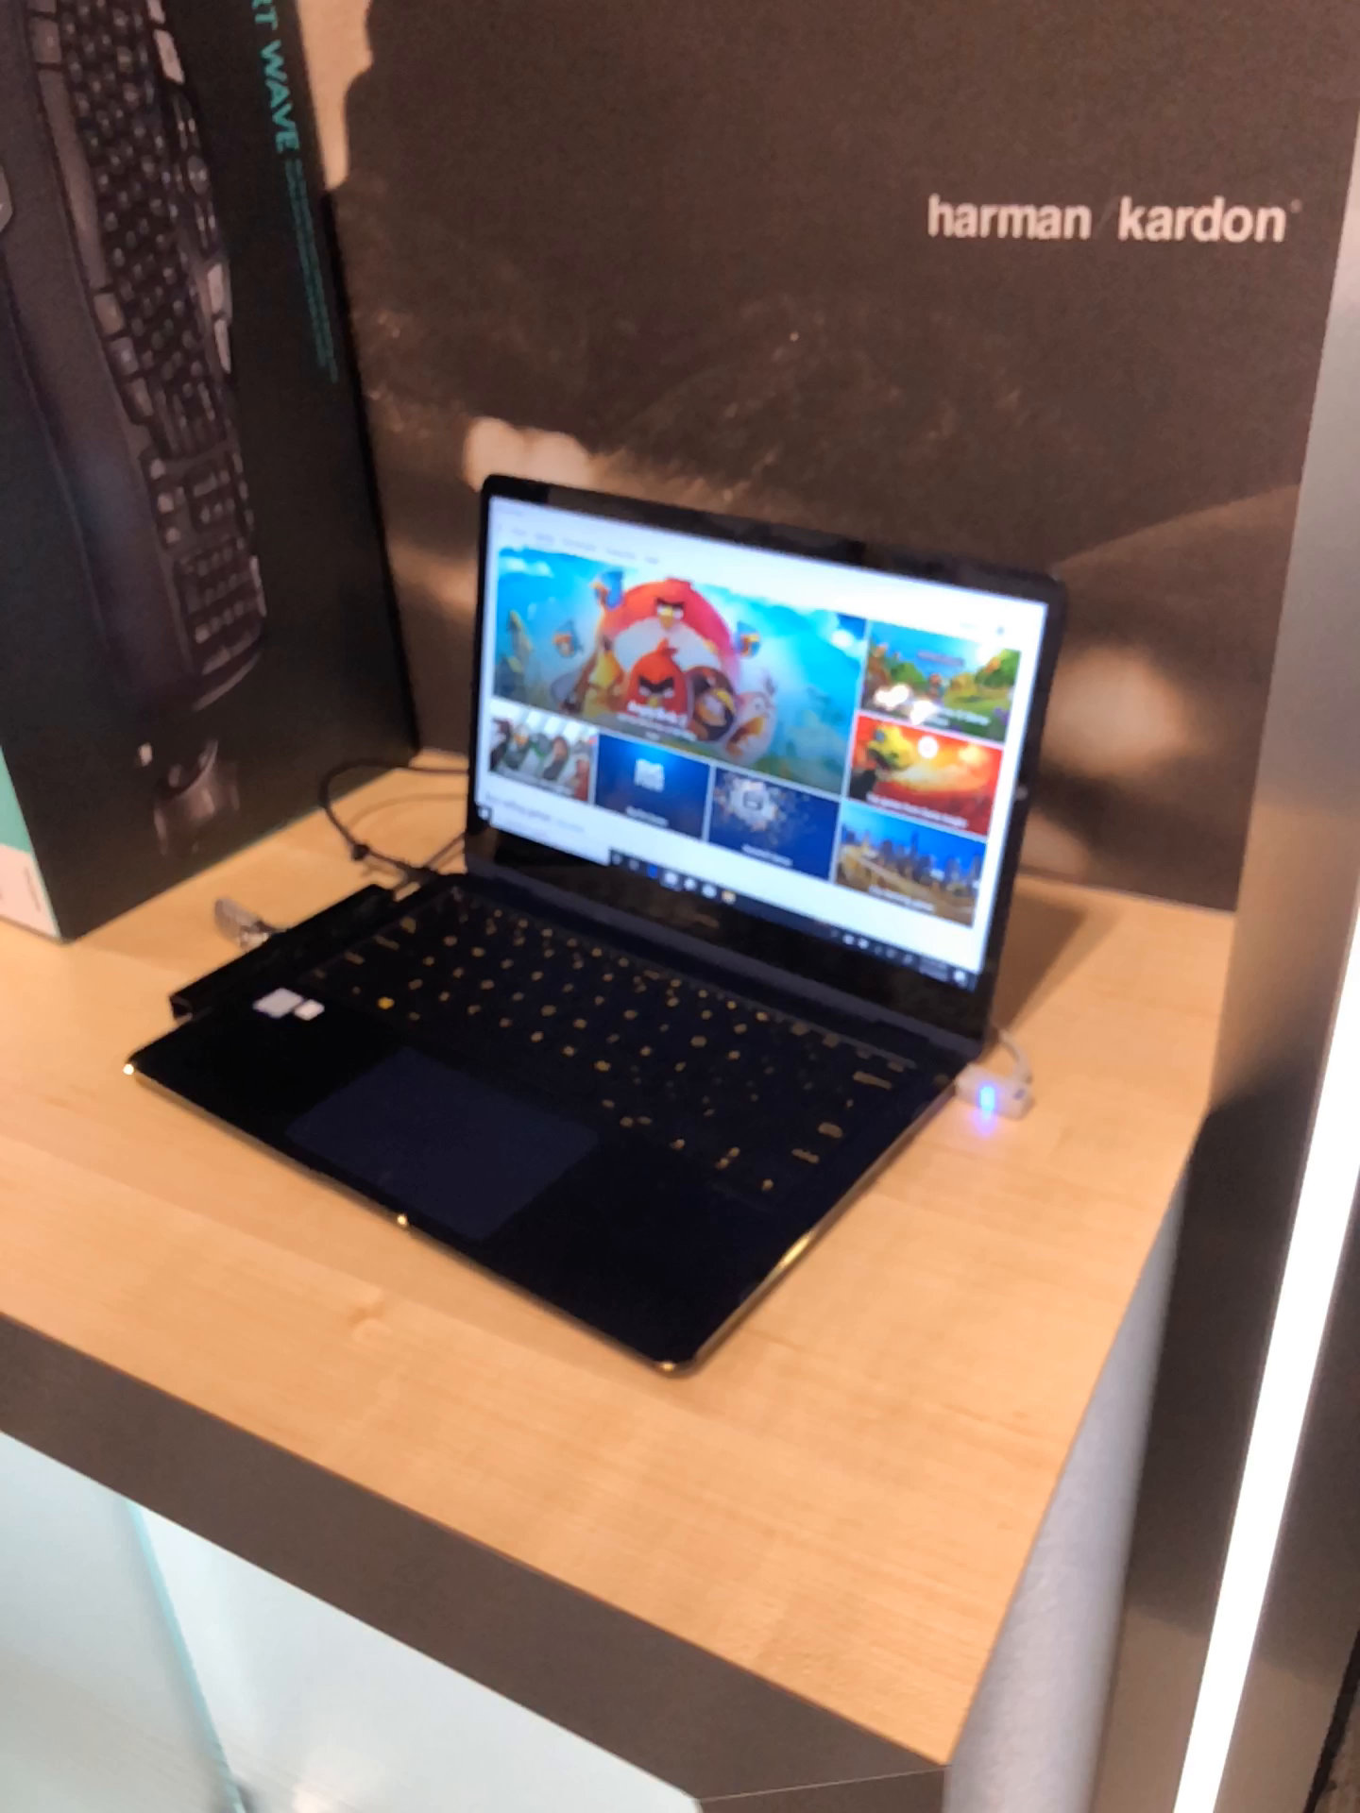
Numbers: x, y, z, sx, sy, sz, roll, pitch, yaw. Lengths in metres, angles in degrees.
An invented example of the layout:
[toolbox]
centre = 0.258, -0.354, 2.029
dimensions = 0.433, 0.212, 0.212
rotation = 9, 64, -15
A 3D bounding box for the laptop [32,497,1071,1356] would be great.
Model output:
[laptop]
centre = -0.042, -0.024, 0.612
dimensions = 0.292, 0.190, 0.248
rotation = 19, 36, 33
